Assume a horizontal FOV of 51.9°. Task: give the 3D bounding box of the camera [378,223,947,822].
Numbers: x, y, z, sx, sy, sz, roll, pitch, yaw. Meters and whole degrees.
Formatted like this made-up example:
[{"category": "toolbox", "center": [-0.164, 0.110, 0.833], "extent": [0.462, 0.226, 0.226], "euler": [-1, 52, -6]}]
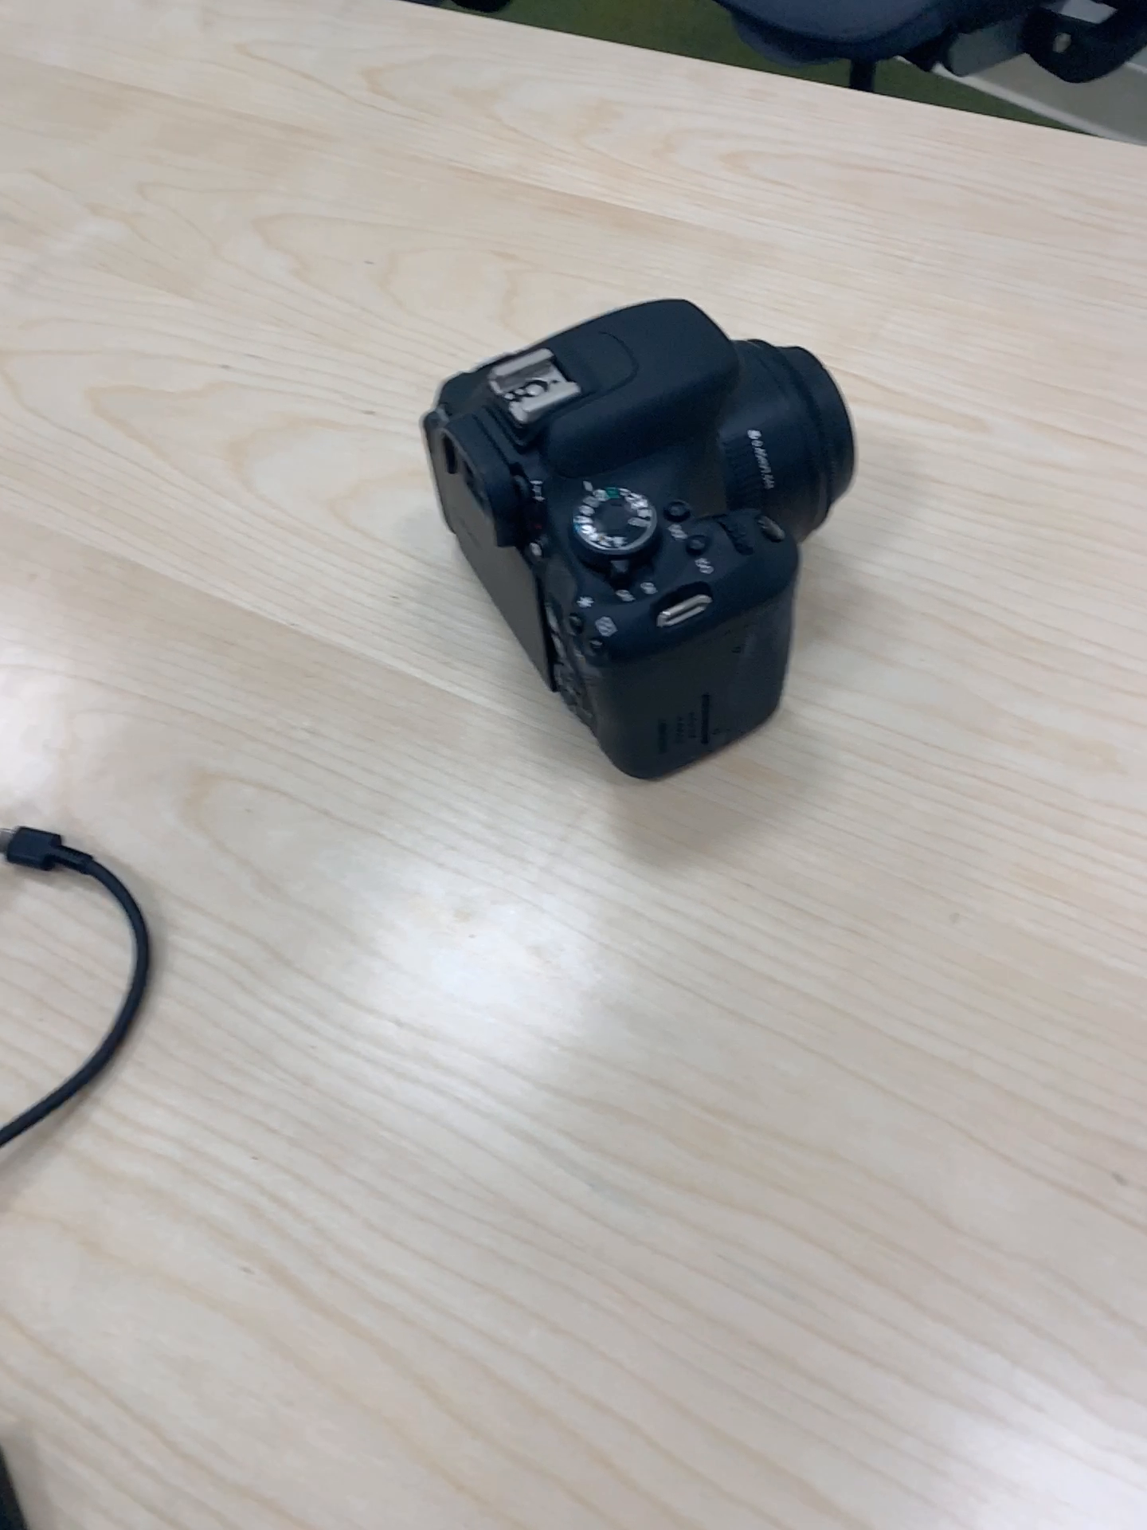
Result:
[{"category": "camera", "center": [0.025, -0.081, 0.388], "extent": [0.118, 0.100, 0.130], "euler": [-25, 59, -11]}]
